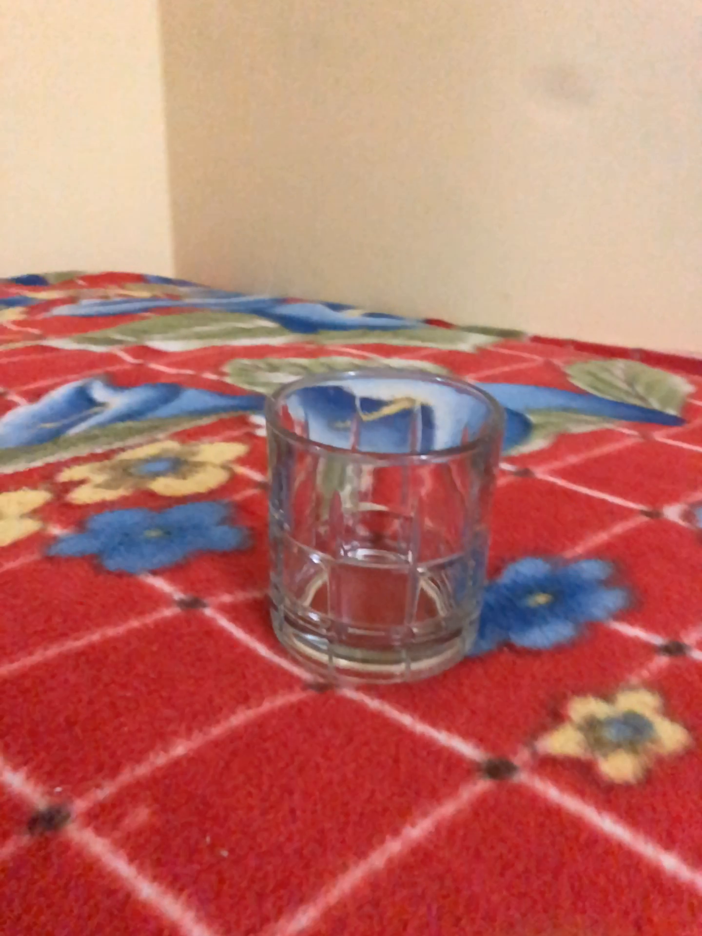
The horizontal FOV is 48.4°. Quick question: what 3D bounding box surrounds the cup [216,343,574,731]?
[{"bbox_3d":[0.015,0.015,0.273,0.084,0.088,0.084,1,24,0],"label":"cup"}]
